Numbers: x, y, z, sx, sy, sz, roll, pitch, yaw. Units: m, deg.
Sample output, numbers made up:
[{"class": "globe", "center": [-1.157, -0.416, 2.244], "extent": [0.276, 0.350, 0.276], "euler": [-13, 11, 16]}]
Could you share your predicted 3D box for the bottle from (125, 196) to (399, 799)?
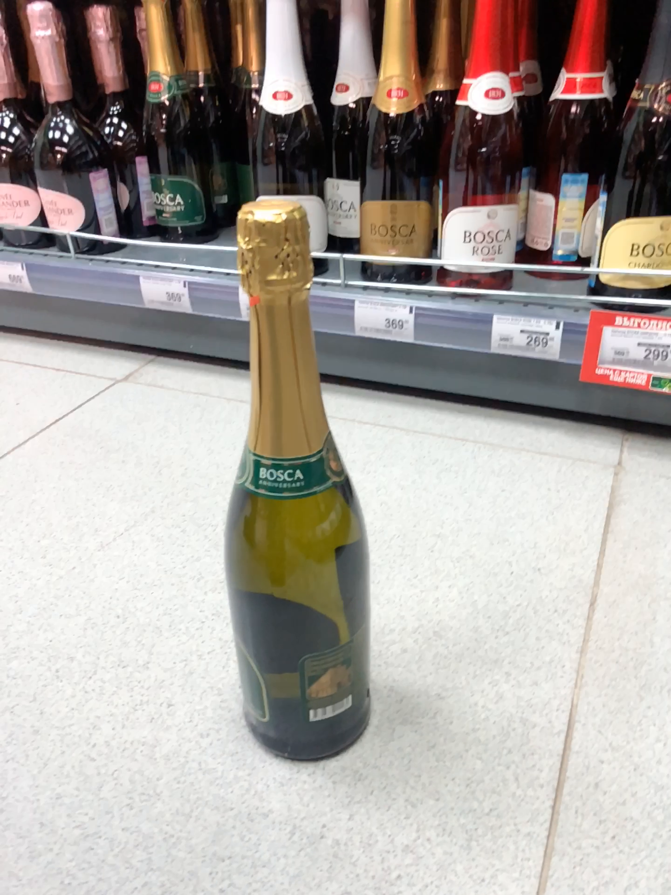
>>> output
[{"class": "bottle", "center": [-0.023, 0.038, 0.399], "extent": [0.090, 0.314, 0.090], "euler": [-2, 29, 1]}]
